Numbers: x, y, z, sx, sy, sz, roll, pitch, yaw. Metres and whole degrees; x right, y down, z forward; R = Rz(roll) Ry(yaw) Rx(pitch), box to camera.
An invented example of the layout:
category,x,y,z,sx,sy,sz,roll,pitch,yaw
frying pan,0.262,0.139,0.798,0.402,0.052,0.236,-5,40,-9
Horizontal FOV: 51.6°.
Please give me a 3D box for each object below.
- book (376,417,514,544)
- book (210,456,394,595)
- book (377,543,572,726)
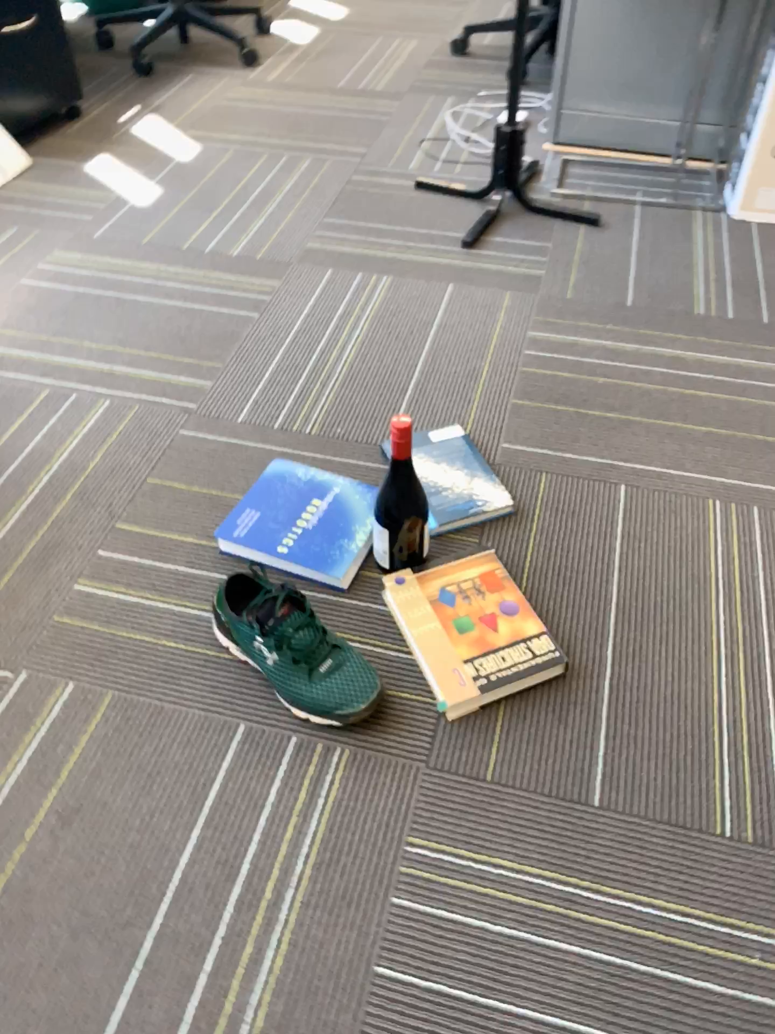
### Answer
category,x,y,z,sx,sy,sz,roll,pitch,yaw
book,0.092,-0.067,1.350,0.156,0.034,0.222,-18,48,-10
book,-0.131,0.007,1.281,0.230,0.041,0.194,16,48,15
book,0.116,0.156,1.135,0.188,0.041,0.231,-16,48,-15
